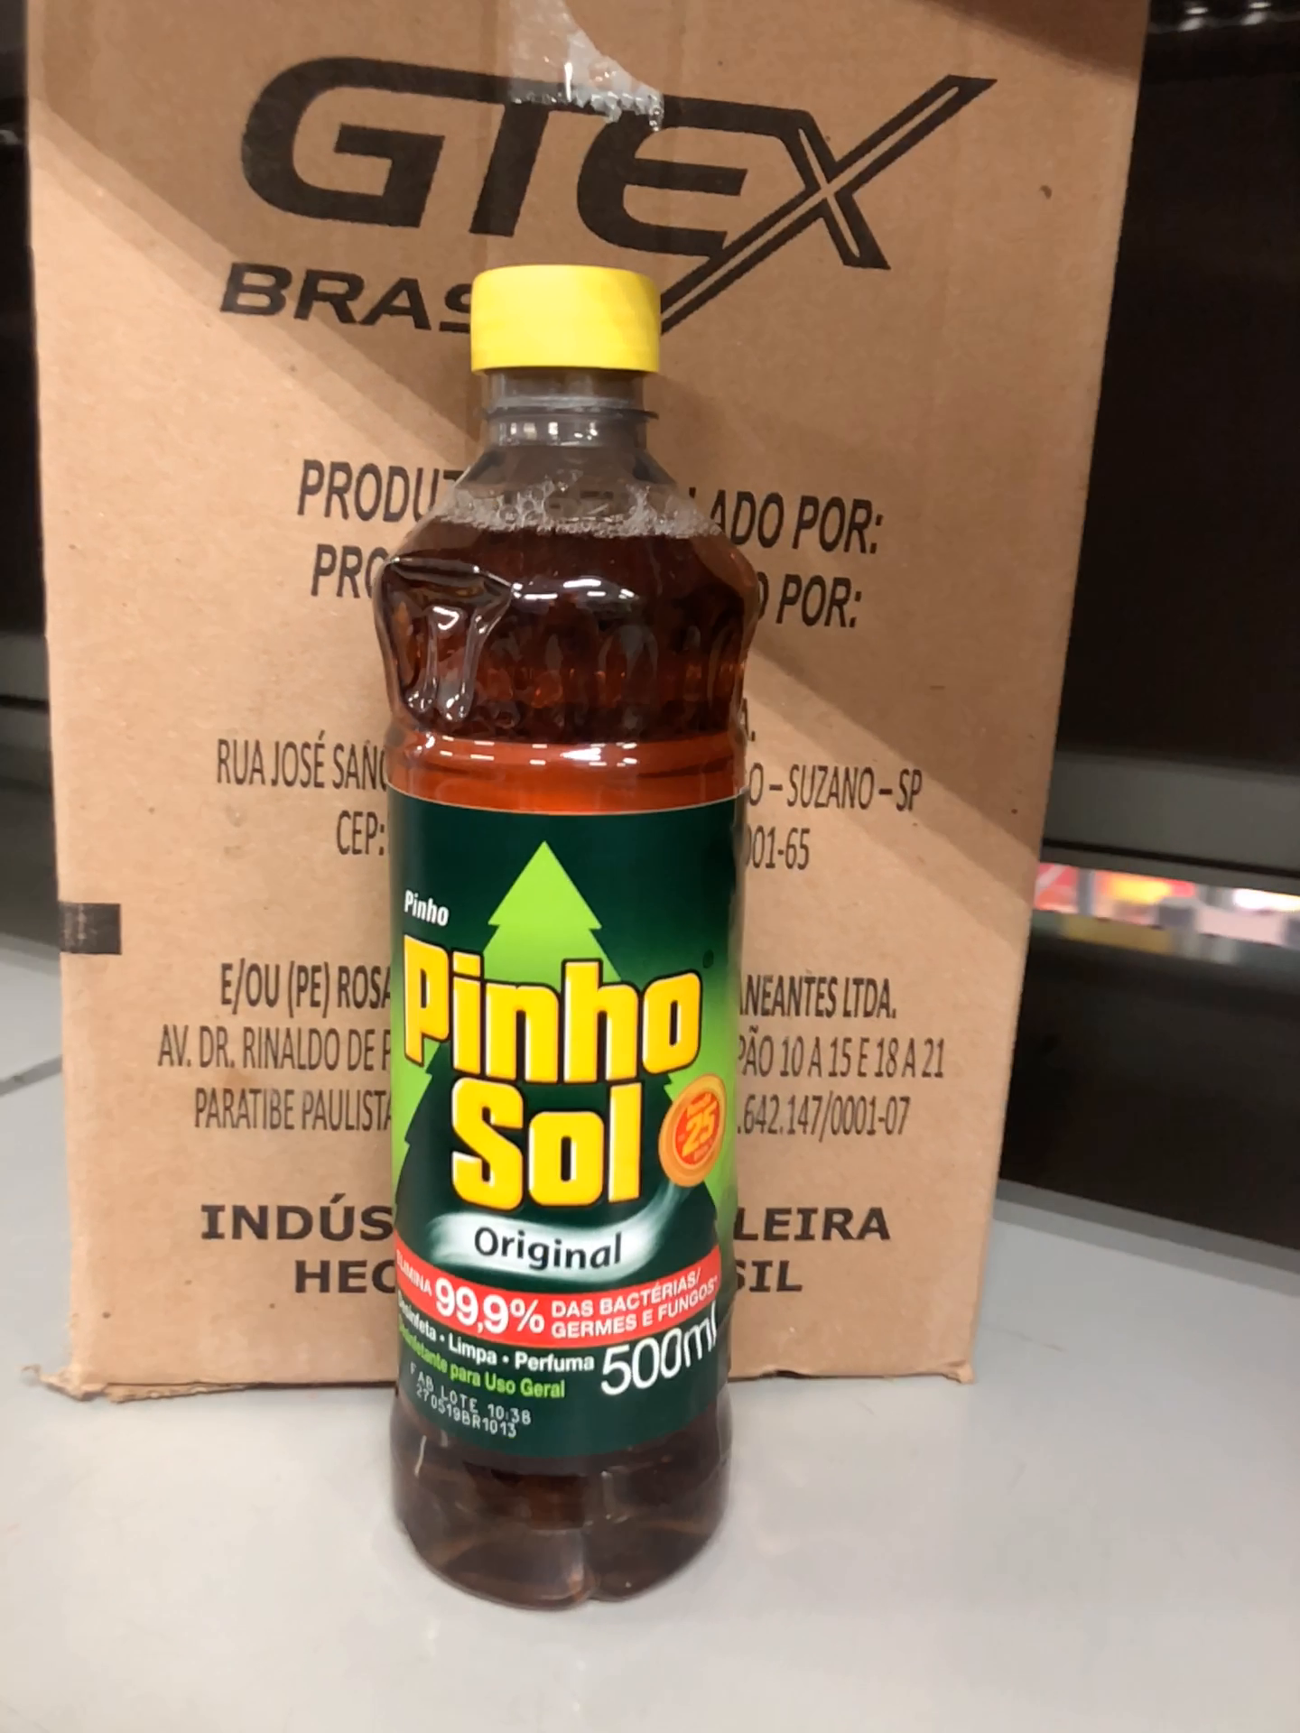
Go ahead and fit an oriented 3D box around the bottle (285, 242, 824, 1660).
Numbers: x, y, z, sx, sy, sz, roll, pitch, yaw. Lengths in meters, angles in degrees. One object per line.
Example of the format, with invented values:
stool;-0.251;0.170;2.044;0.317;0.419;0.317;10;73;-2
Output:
bottle;-0.018;0.019;0.244;0.070;0.219;0.060;2;14;-2
